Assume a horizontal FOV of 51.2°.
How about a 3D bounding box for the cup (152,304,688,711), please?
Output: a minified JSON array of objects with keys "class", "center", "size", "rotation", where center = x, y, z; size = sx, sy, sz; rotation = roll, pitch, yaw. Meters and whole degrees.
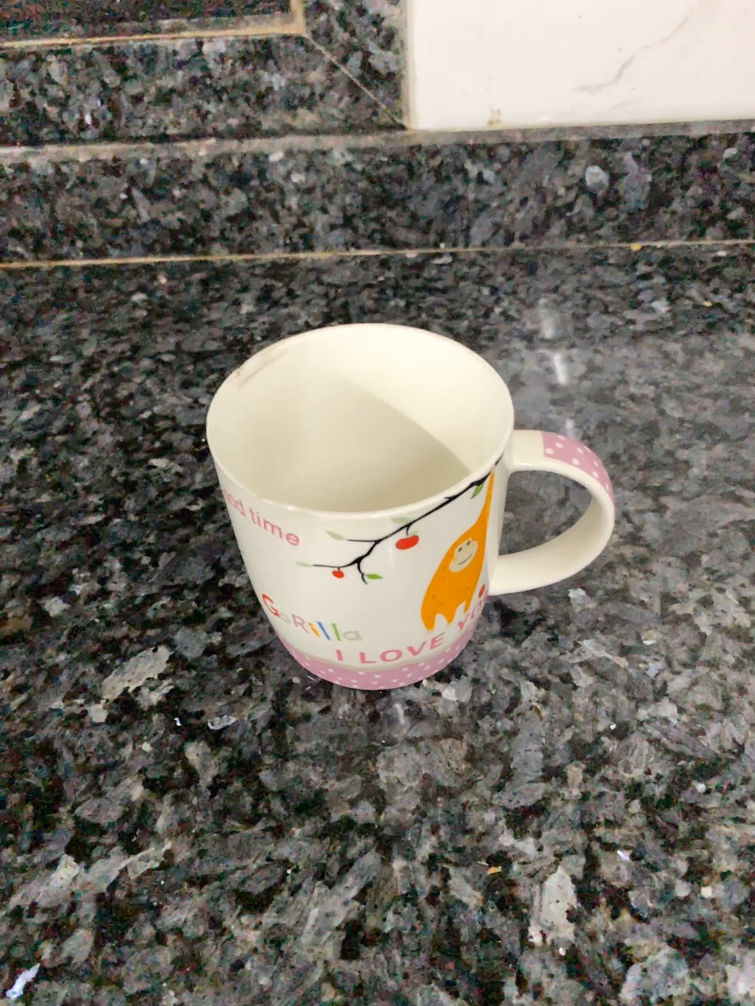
[{"class":"cup","center":[0.012,0.002,0.236],"size":[0.120,0.089,0.081],"rotation":[0,46,4]}]
